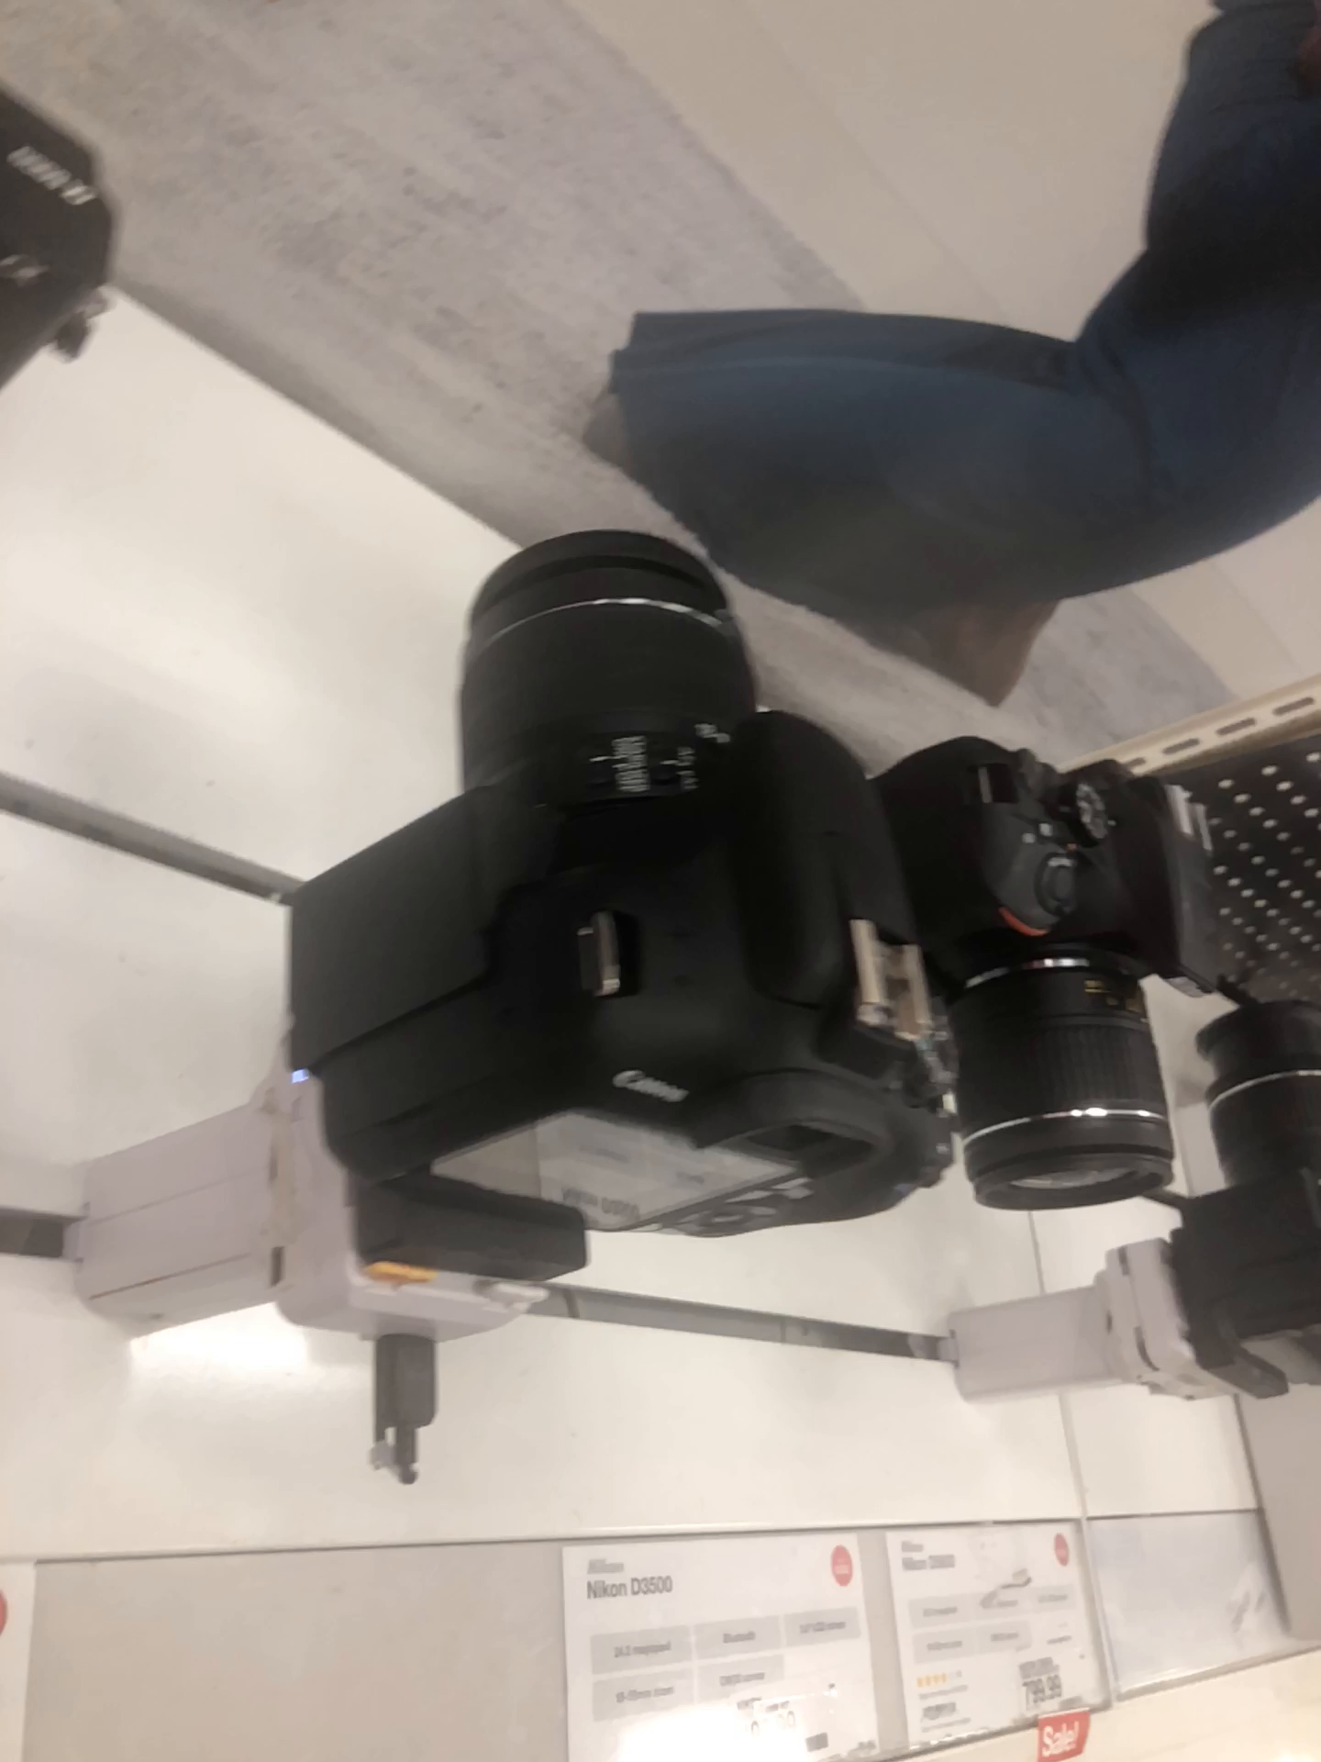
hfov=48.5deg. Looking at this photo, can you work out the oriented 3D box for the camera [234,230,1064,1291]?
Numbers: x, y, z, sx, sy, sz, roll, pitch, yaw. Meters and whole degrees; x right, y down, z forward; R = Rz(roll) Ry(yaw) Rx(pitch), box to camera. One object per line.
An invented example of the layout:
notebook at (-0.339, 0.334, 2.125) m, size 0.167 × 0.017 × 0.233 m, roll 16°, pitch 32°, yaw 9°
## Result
camera at (0.001, -0.011, 0.317) m, size 0.141 × 0.089 × 0.170 m, roll 25°, pitch 54°, yaw -45°
